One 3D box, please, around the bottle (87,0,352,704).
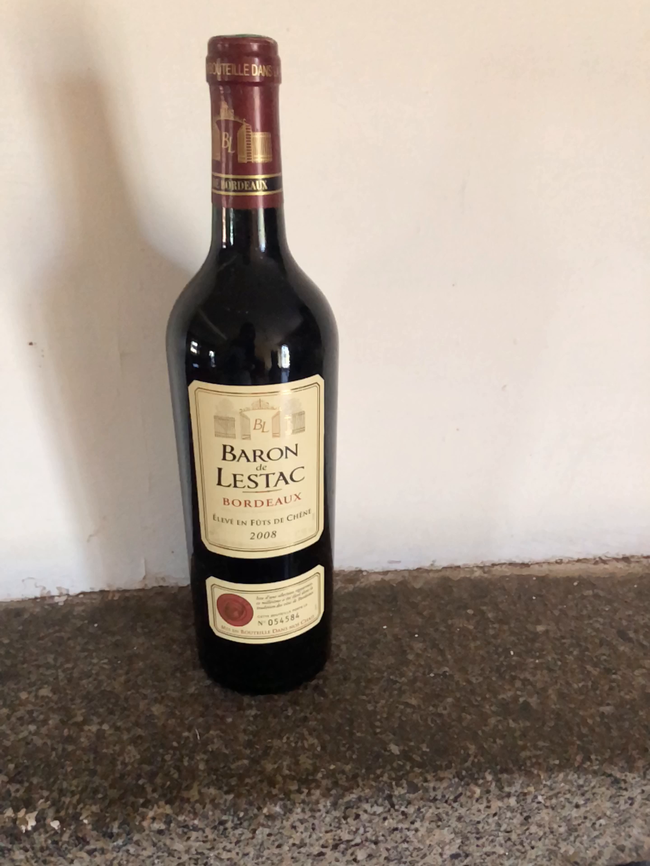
[{"bbox_3d":[-0.032,-0.019,0.307,0.080,0.278,0.070,-2,24,-4],"label":"bottle"}]
